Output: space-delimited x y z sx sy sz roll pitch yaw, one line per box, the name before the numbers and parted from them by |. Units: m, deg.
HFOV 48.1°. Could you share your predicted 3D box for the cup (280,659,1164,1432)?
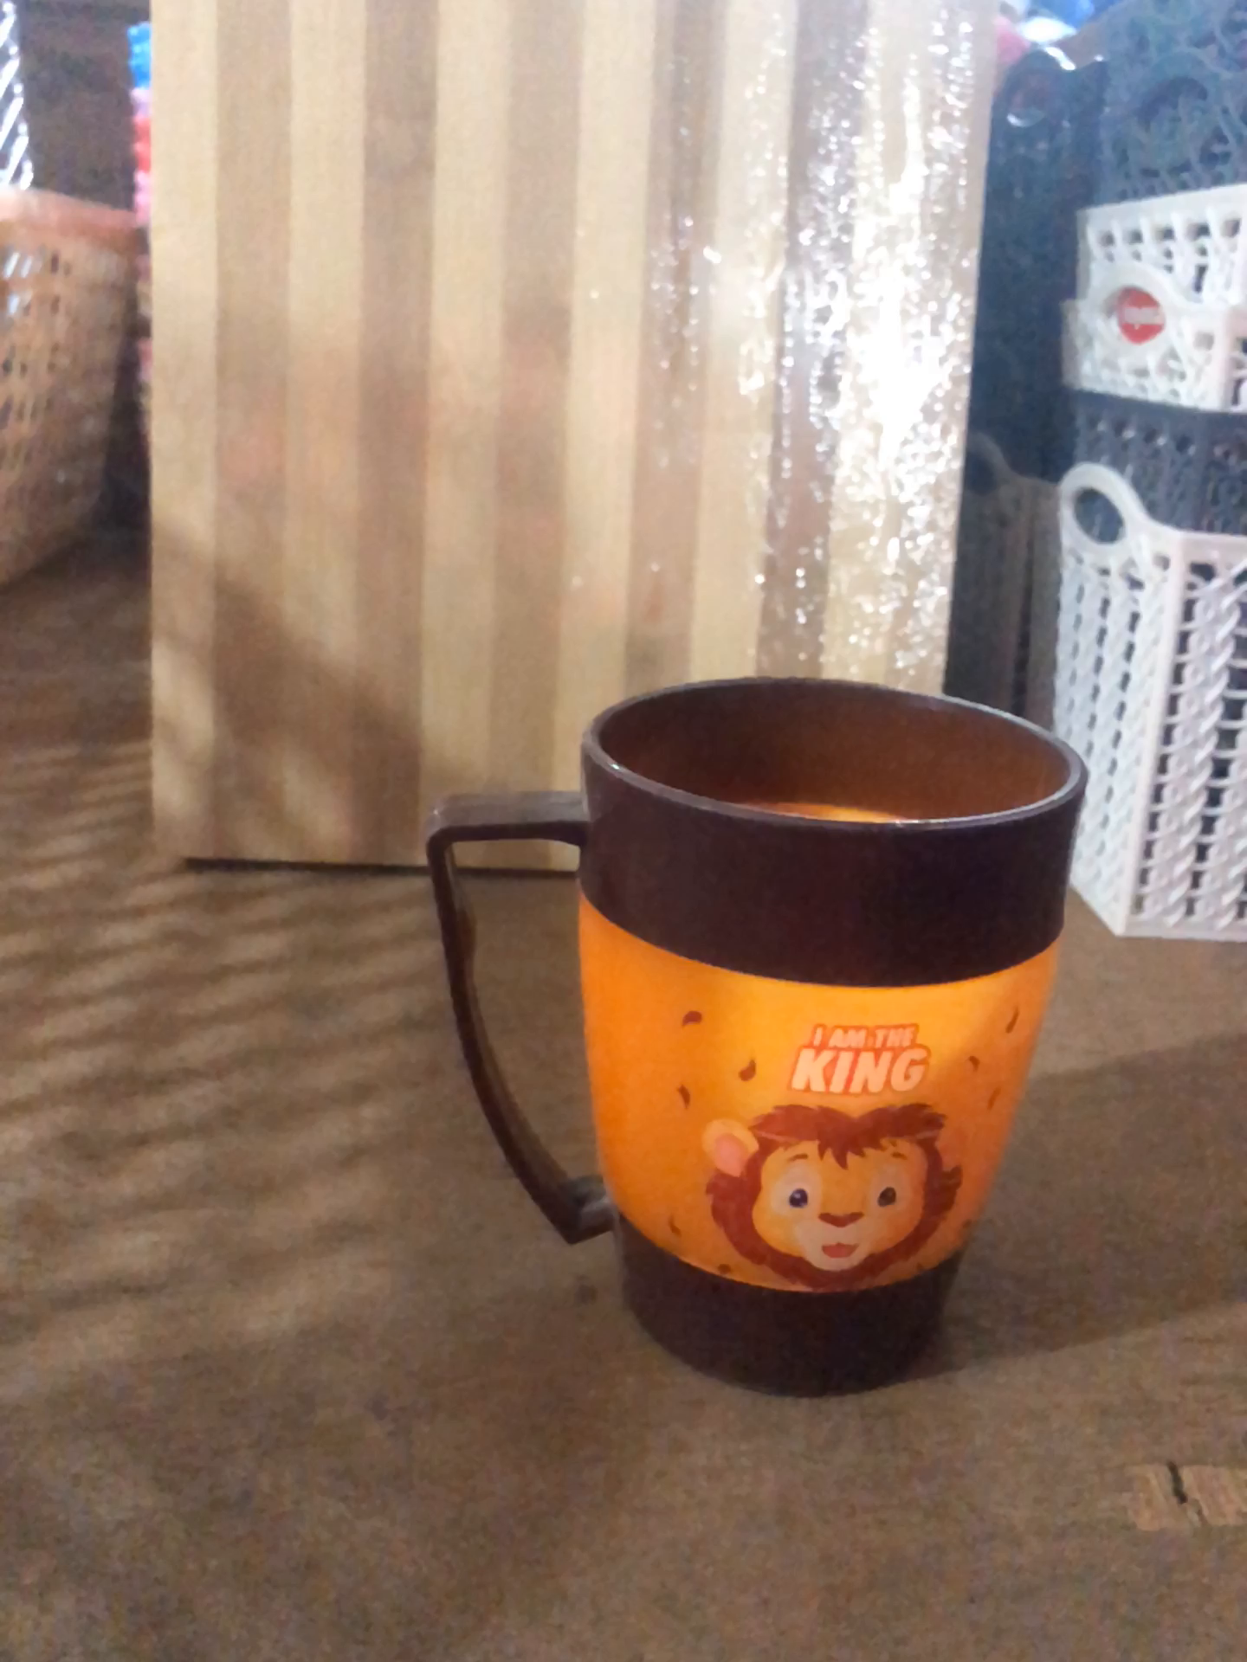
cup | 0.009 0.028 0.202 0.100 0.090 0.060 2 22 -2
